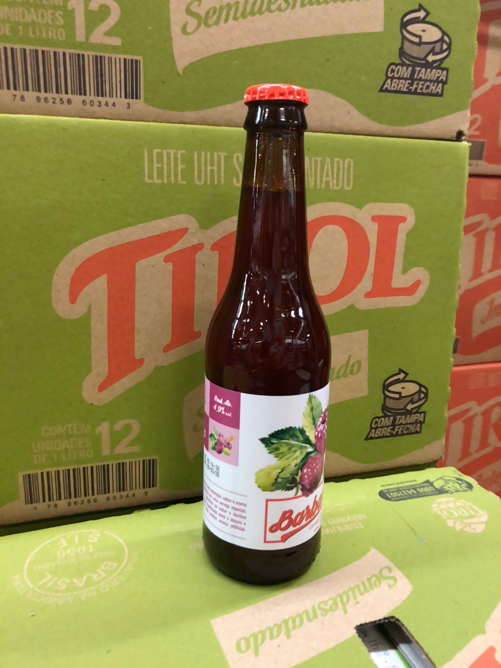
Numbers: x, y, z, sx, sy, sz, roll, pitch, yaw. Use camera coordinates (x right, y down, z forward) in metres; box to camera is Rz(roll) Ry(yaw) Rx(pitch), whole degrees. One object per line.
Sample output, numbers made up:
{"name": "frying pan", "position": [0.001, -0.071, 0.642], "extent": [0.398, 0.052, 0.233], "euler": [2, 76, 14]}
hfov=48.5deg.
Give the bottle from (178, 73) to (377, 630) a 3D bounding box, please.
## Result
{"name": "bottle", "position": [0.012, 0.008, 0.264], "extent": [0.060, 0.229, 0.070], "euler": [8, 14, 24]}
